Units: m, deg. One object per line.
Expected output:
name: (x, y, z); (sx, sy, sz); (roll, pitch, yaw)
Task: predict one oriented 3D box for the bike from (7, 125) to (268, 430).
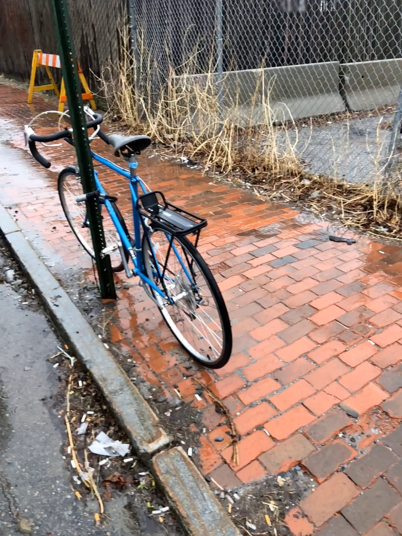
bike: (-0.470, -0.151, 2.428); (0.473, 0.919, 1.872); (-20, 33, -31)
